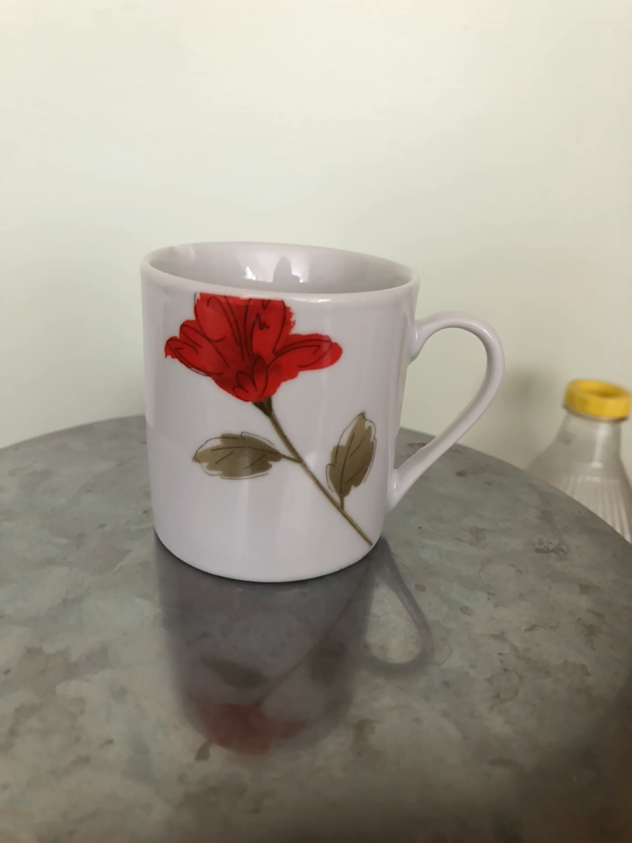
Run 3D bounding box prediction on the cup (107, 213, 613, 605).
[{"bbox_3d":[0.004,-0.006,0.151,0.080,0.060,0.060,4,22,-4],"label":"cup"}]
